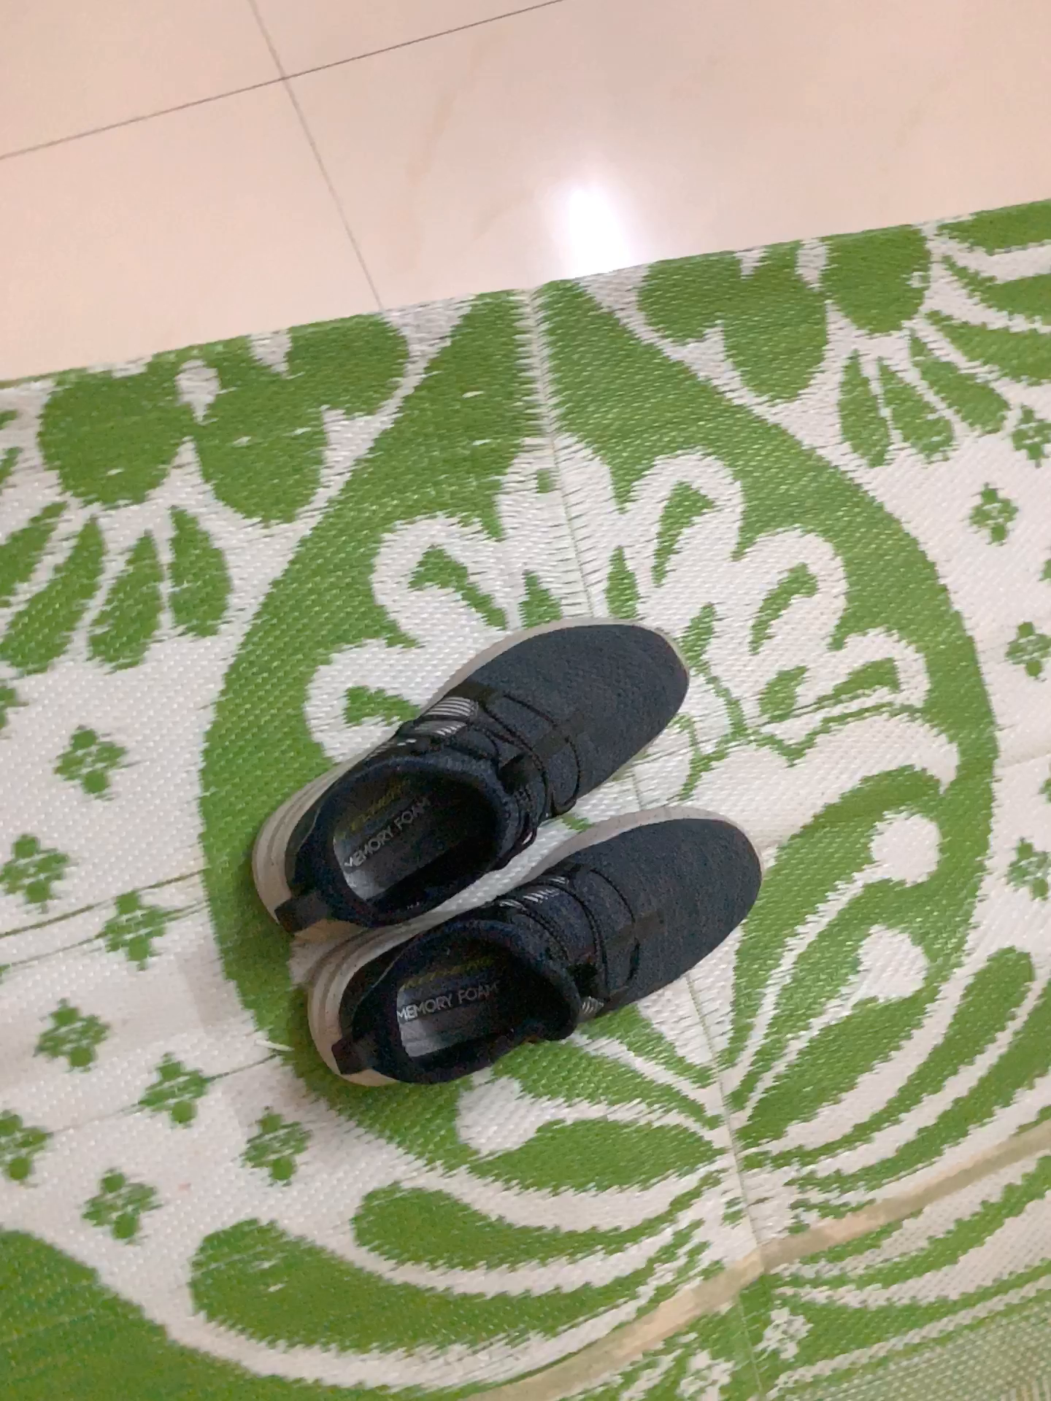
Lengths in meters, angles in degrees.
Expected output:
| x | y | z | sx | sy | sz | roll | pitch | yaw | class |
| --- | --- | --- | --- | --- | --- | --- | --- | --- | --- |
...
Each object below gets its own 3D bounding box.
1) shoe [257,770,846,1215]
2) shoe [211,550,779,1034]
| x | y | z | sx | sy | sz | roll | pitch | yaw | class |
| --- | --- | --- | --- | --- | --- | --- | --- | --- | --- |
| 0.012 | 0.150 | 0.612 | 0.300 | 0.100 | 0.110 | -22 | 94 | -13 | shoe |
| -0.018 | 0.044 | 0.609 | 0.290 | 0.100 | 0.110 | -33 | 96 | -12 | shoe |
